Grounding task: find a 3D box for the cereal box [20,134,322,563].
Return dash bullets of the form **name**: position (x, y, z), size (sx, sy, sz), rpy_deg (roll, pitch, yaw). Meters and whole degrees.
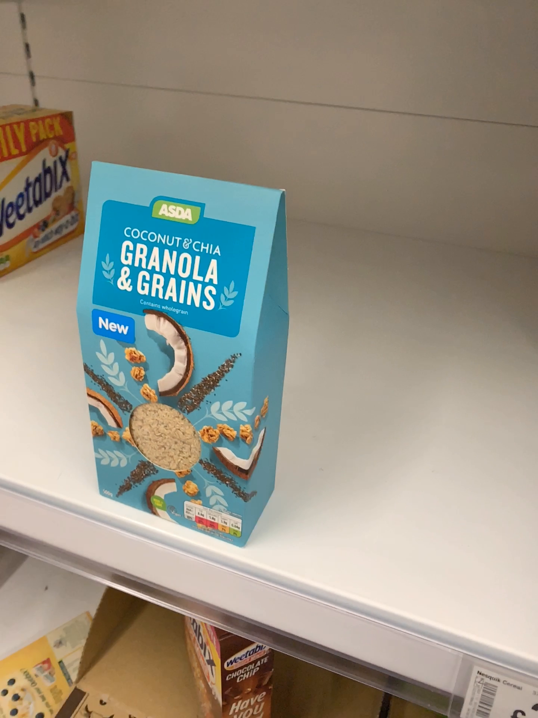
- **cereal box**: position (-0.055, -0.003, 0.352), size (0.140, 0.238, 0.071), rpy_deg (15, 33, 19)
